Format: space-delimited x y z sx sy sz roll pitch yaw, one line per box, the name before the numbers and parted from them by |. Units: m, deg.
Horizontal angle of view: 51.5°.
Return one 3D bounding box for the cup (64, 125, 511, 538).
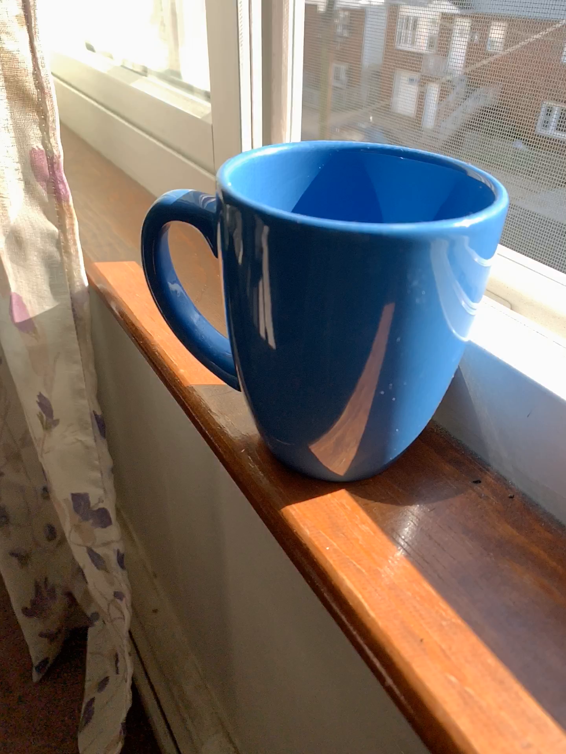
cup | 0.007 -0.022 0.202 0.113 0.095 0.082 12 37 15
